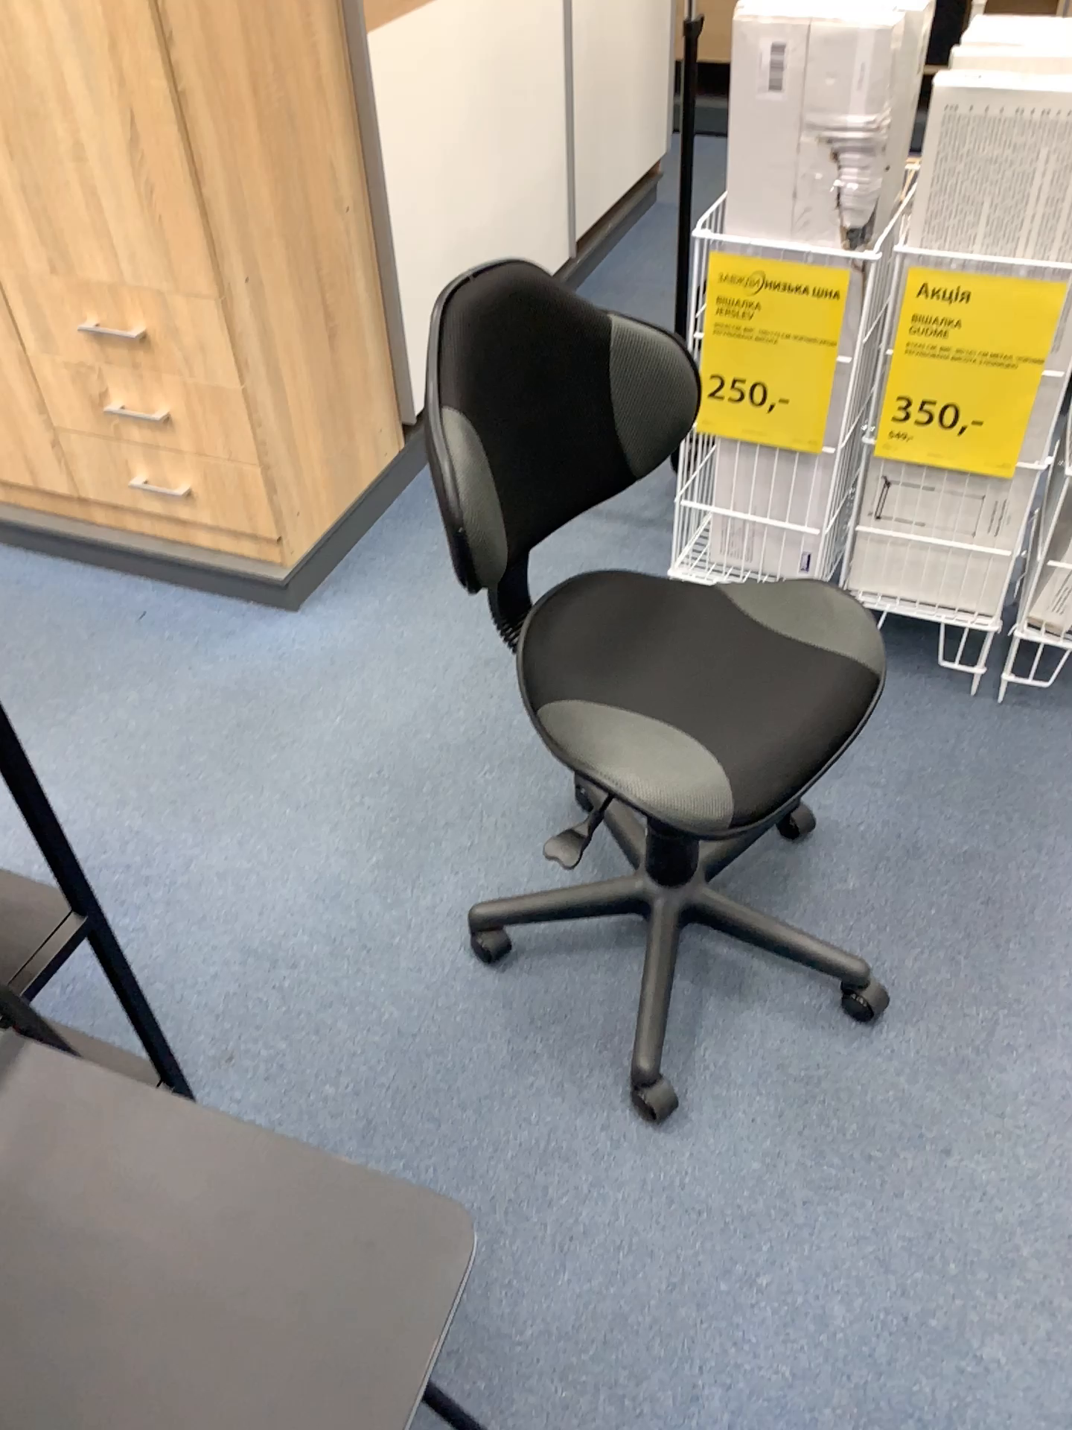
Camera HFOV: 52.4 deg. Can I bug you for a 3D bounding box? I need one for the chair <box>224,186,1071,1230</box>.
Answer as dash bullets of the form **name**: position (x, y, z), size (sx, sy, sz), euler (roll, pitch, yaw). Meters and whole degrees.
- **chair**: position (0.183, -0.026, 1.359), size (0.692, 0.916, 0.631), euler (29, 51, 30)
